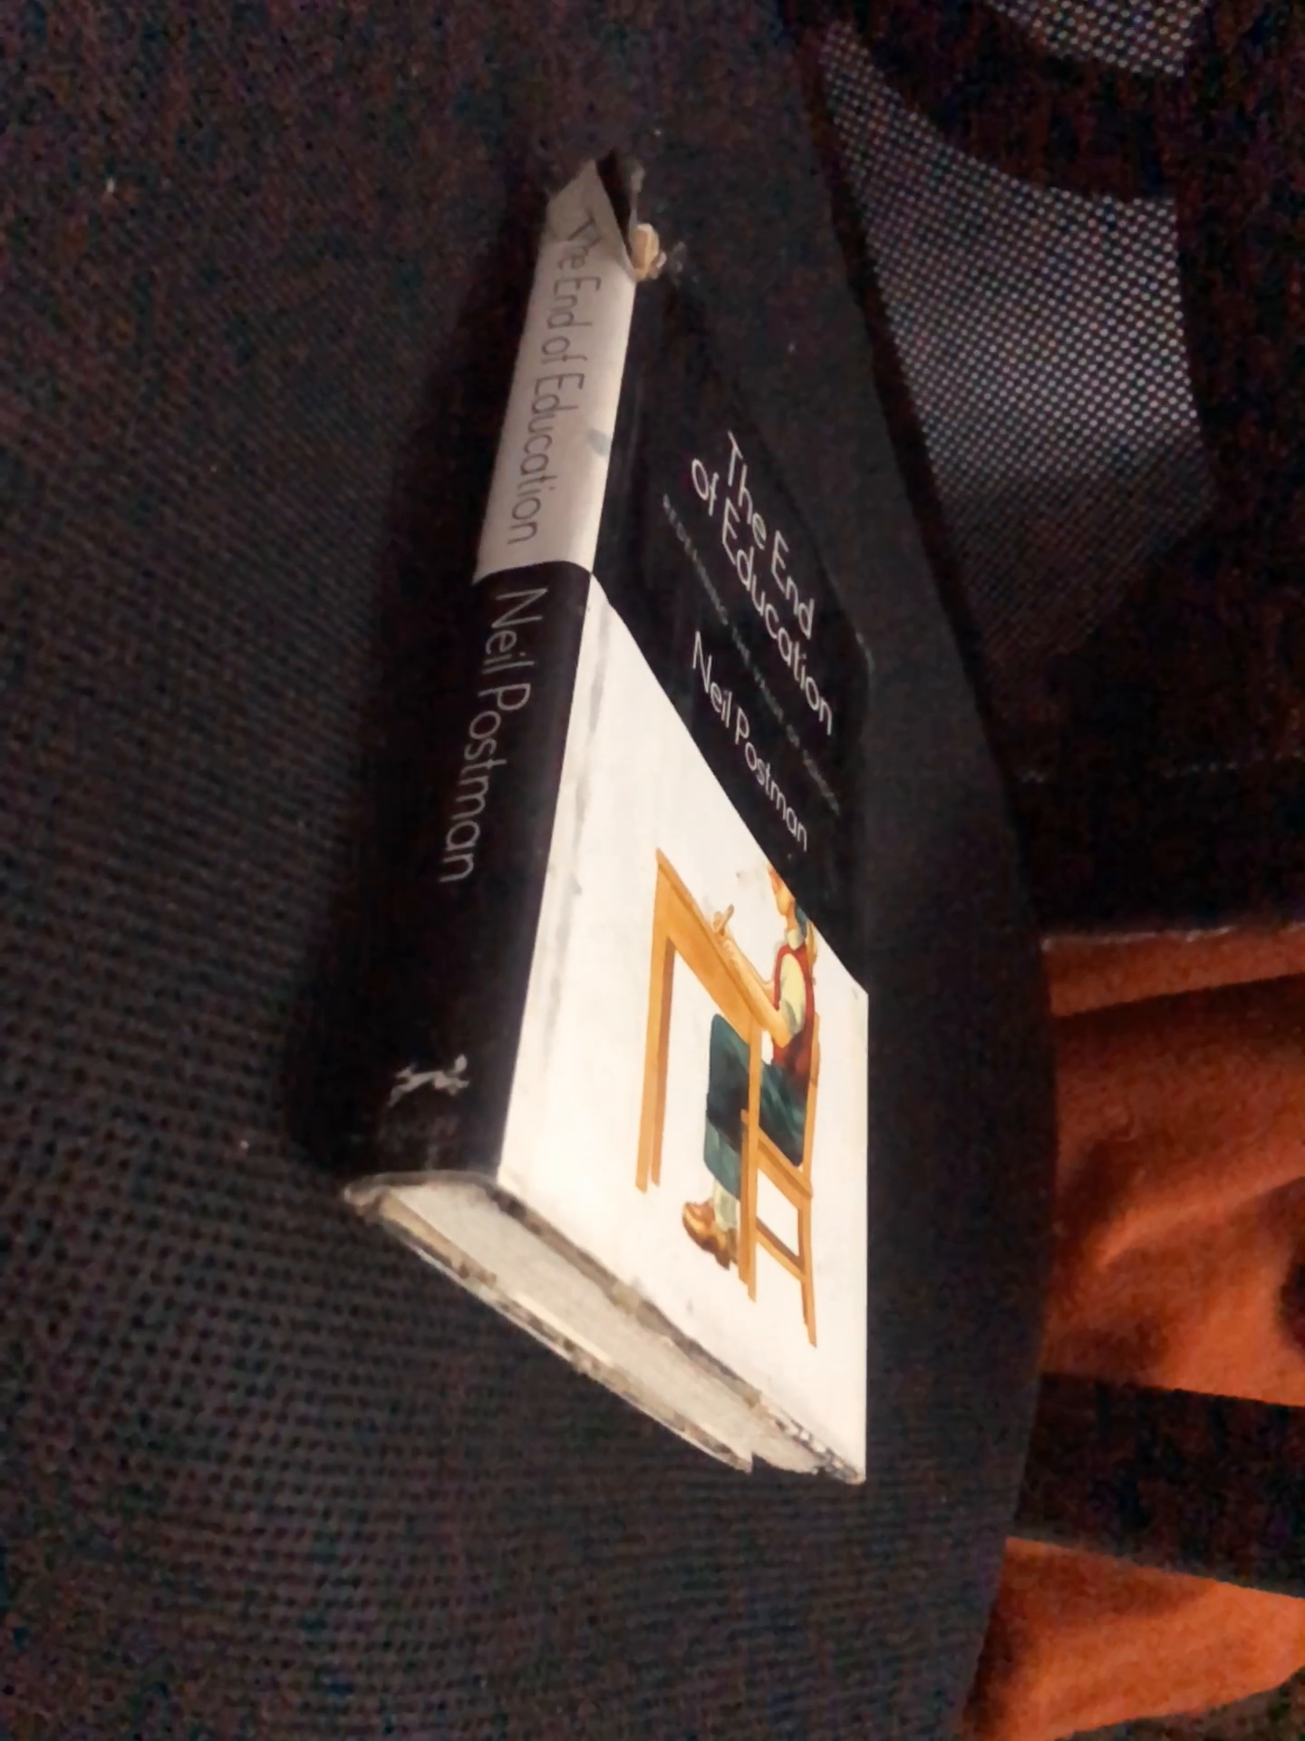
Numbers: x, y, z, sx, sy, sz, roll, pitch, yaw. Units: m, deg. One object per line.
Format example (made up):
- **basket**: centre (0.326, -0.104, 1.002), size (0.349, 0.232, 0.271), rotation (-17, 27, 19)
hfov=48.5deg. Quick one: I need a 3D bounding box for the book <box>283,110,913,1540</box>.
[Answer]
- **book**: centre (0.014, -0.010, 0.312), size (0.181, 0.030, 0.250), rotation (54, 33, -47)
